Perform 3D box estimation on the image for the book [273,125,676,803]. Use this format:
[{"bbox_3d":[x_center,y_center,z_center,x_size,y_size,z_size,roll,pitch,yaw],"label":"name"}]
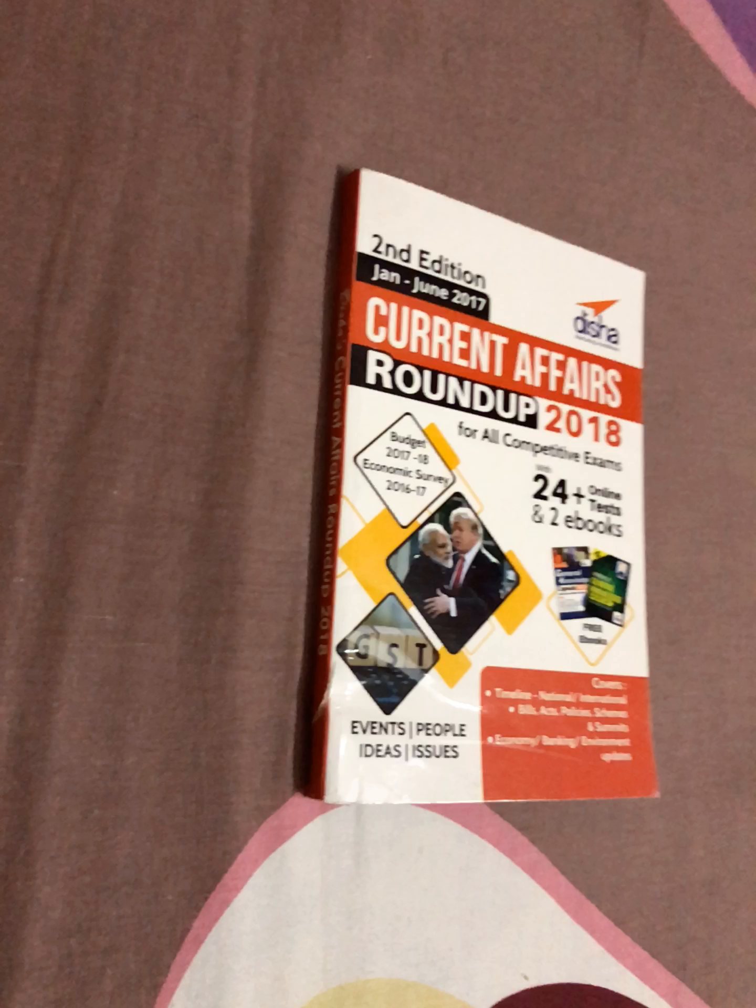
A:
[{"bbox_3d":[0.042,-0.009,0.313,0.141,0.040,0.220,9,76,-28],"label":"book"}]
